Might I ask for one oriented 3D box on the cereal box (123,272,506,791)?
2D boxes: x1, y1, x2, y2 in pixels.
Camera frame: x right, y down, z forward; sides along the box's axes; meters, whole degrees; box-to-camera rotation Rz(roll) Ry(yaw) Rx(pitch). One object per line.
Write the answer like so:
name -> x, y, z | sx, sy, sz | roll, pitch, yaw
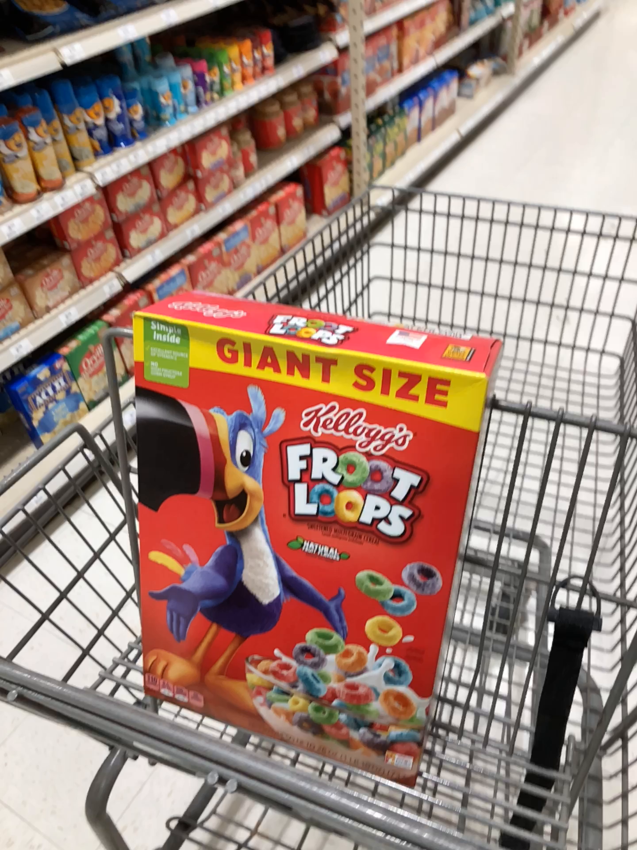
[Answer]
cereal box -> -0.018, 0.085, 0.575 | 0.260, 0.369, 0.090 | 12, 24, 16
